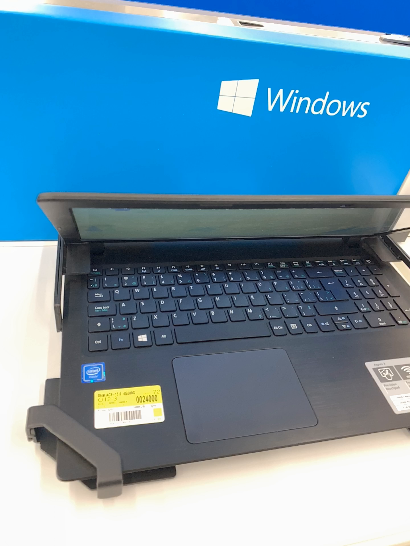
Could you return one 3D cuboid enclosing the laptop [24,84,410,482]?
[{"bbox_3d":[0.067,-0.017,0.325,0.344,0.147,0.227,-2,42,-16],"label":"laptop"}]
